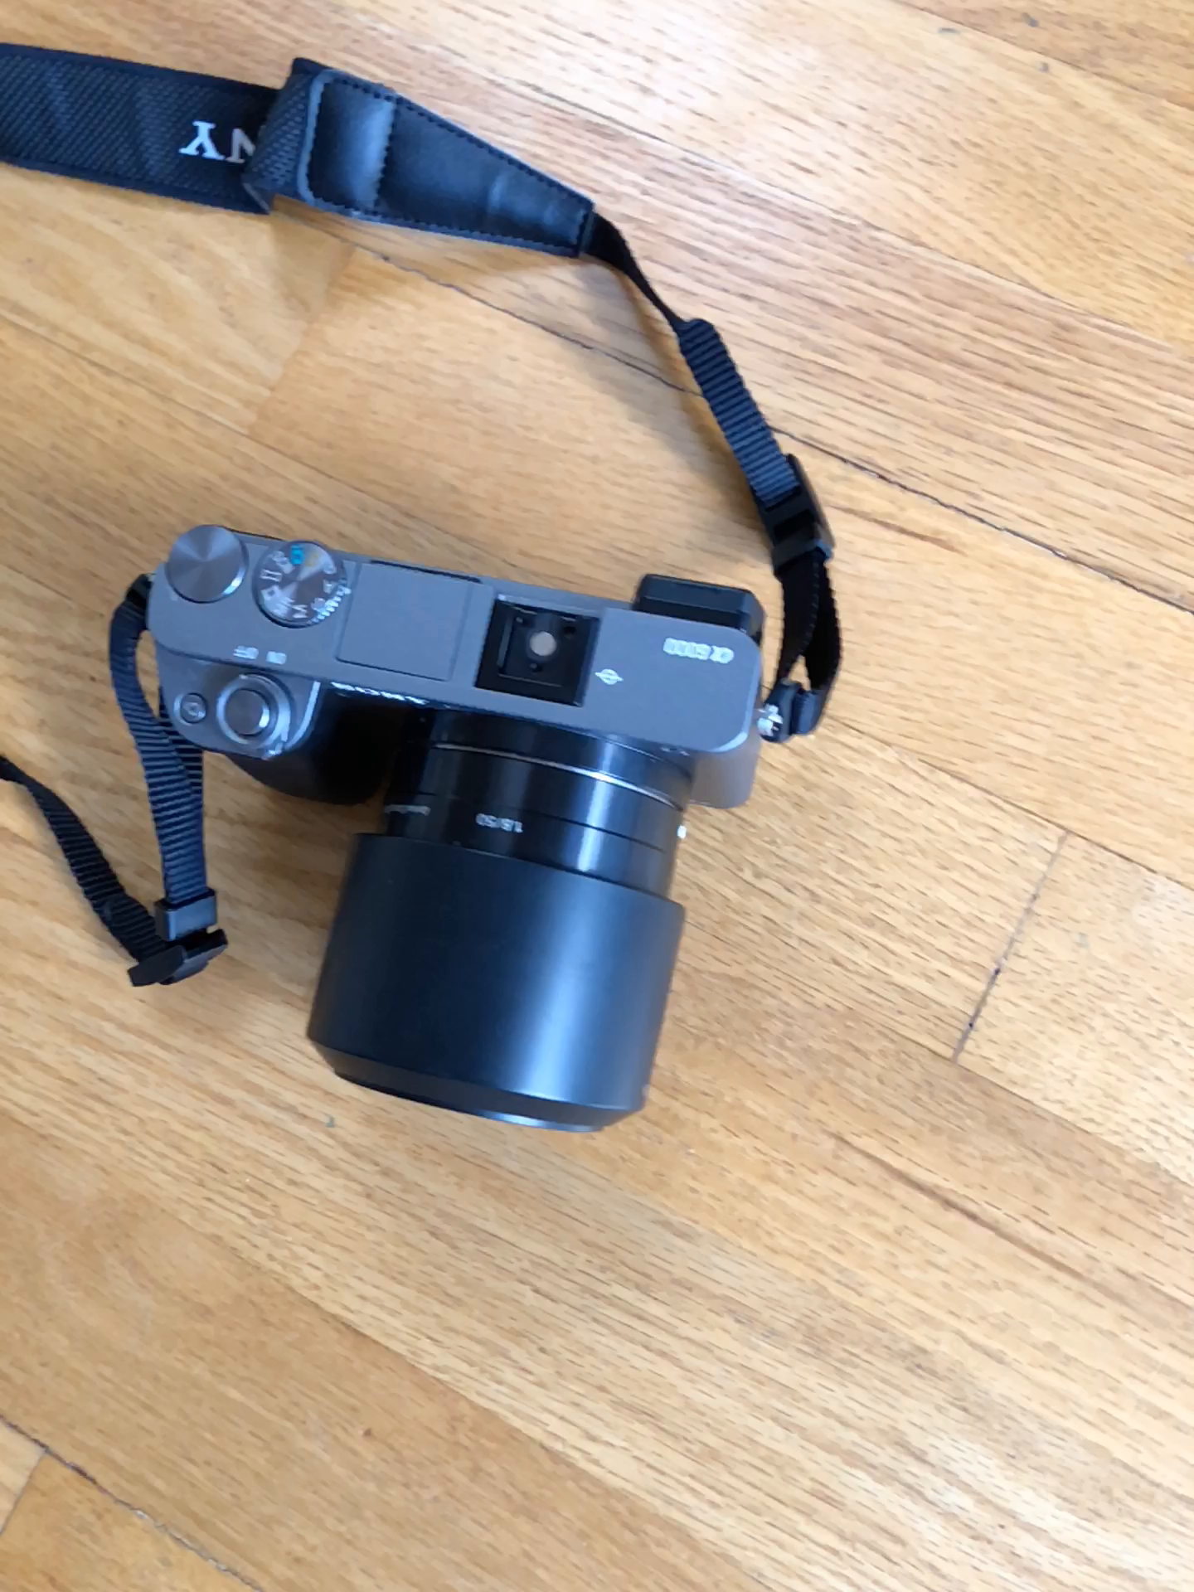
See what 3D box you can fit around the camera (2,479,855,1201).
[{"bbox_3d":[-0.028,0.008,0.273,0.140,0.060,0.110,10,82,9],"label":"camera"}]
